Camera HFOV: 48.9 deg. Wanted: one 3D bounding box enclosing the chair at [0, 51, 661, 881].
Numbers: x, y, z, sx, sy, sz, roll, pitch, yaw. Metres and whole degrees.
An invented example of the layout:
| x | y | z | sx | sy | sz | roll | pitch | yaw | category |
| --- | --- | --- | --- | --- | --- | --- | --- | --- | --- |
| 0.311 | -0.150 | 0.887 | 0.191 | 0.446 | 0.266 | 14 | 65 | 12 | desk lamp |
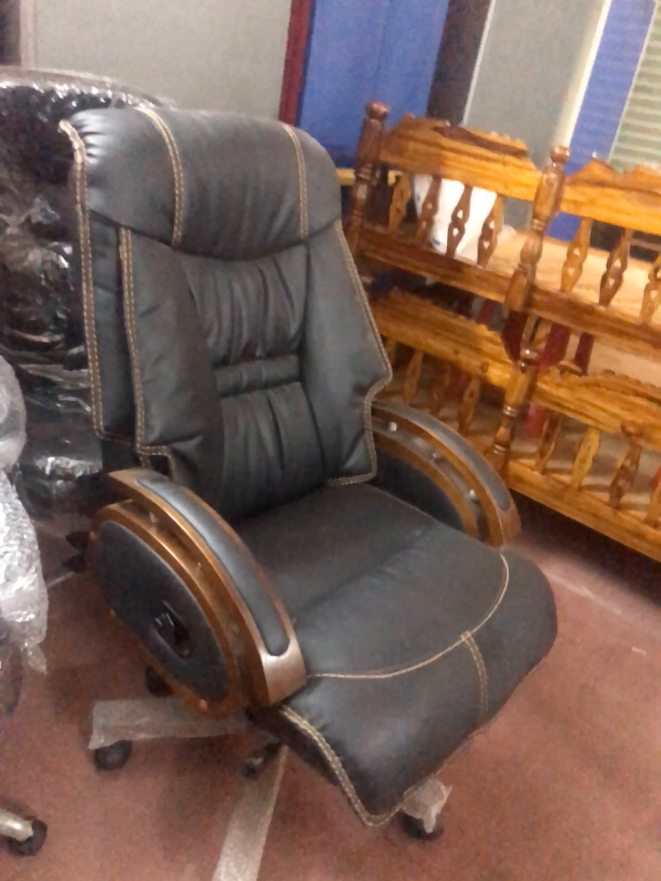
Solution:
| x | y | z | sx | sy | sz | roll | pitch | yaw | category |
| --- | --- | --- | --- | --- | --- | --- | --- | --- | --- |
| 0.032 | 0.051 | 1.127 | 0.790 | 0.995 | 0.704 | 31 | 33 | 34 | chair |
